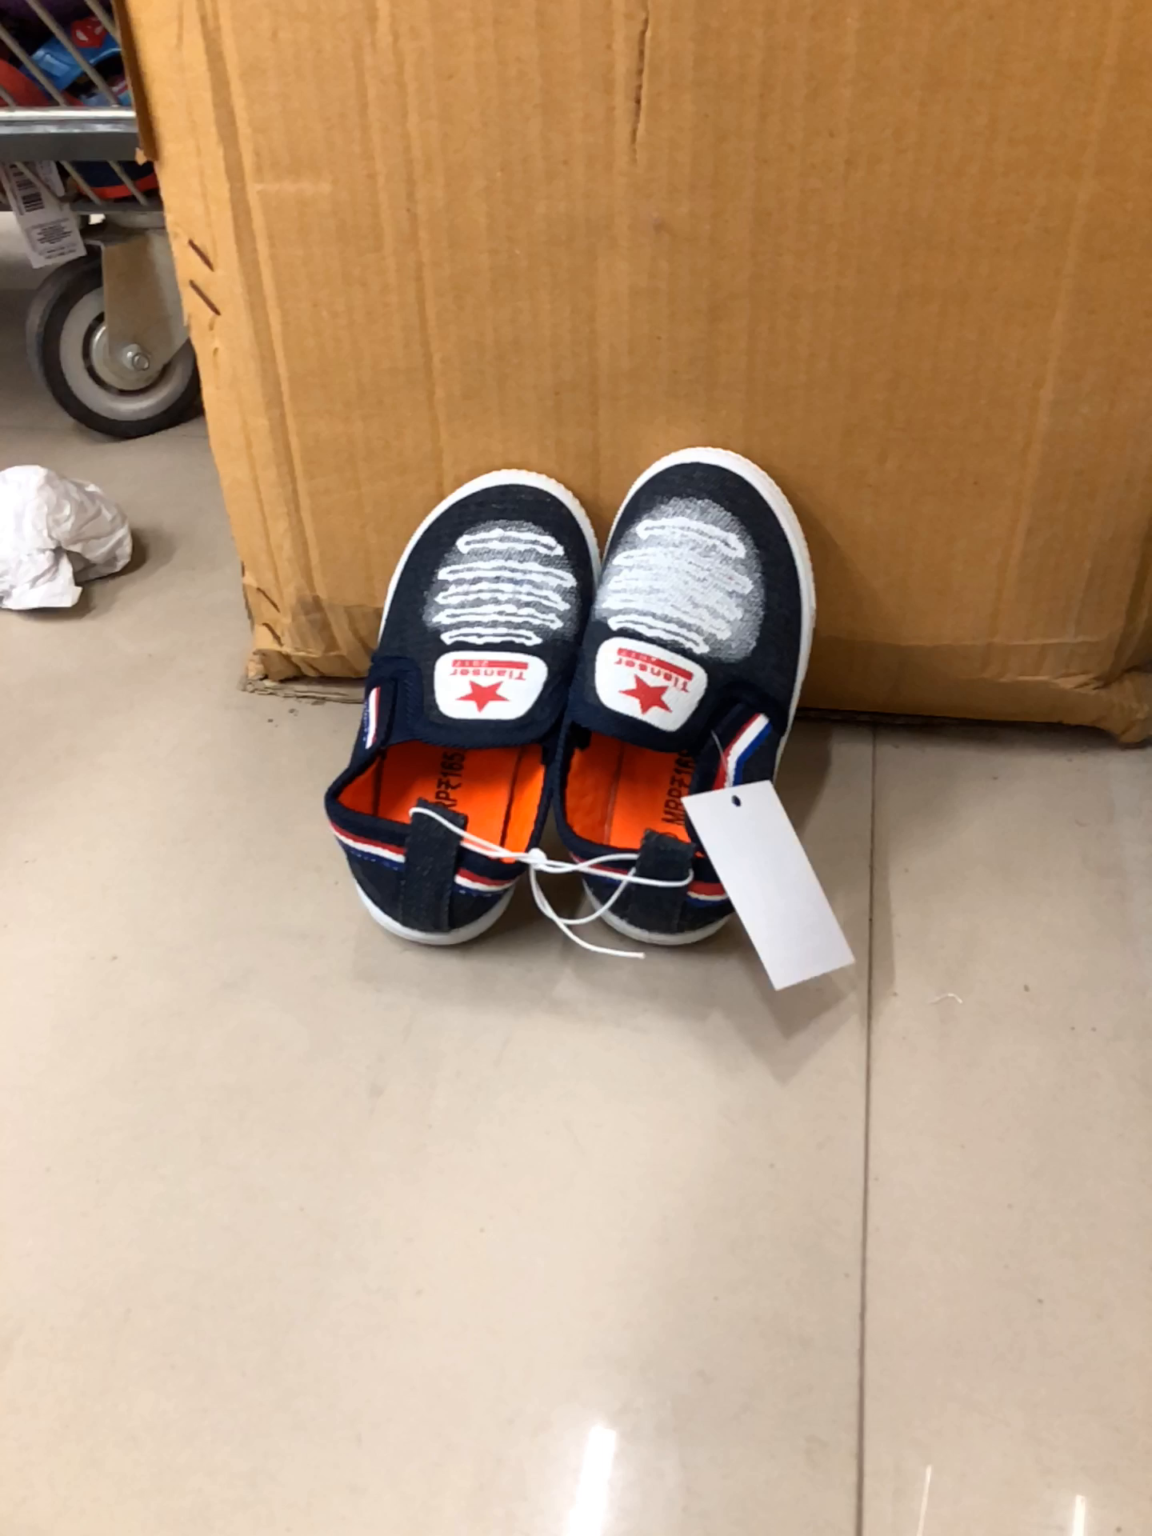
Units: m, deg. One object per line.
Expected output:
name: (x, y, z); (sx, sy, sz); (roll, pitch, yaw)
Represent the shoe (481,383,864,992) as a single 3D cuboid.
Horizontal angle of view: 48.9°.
shoe: (0.034, -0.024, 0.390); (0.080, 0.160, 0.080); (9, 2, 16)
